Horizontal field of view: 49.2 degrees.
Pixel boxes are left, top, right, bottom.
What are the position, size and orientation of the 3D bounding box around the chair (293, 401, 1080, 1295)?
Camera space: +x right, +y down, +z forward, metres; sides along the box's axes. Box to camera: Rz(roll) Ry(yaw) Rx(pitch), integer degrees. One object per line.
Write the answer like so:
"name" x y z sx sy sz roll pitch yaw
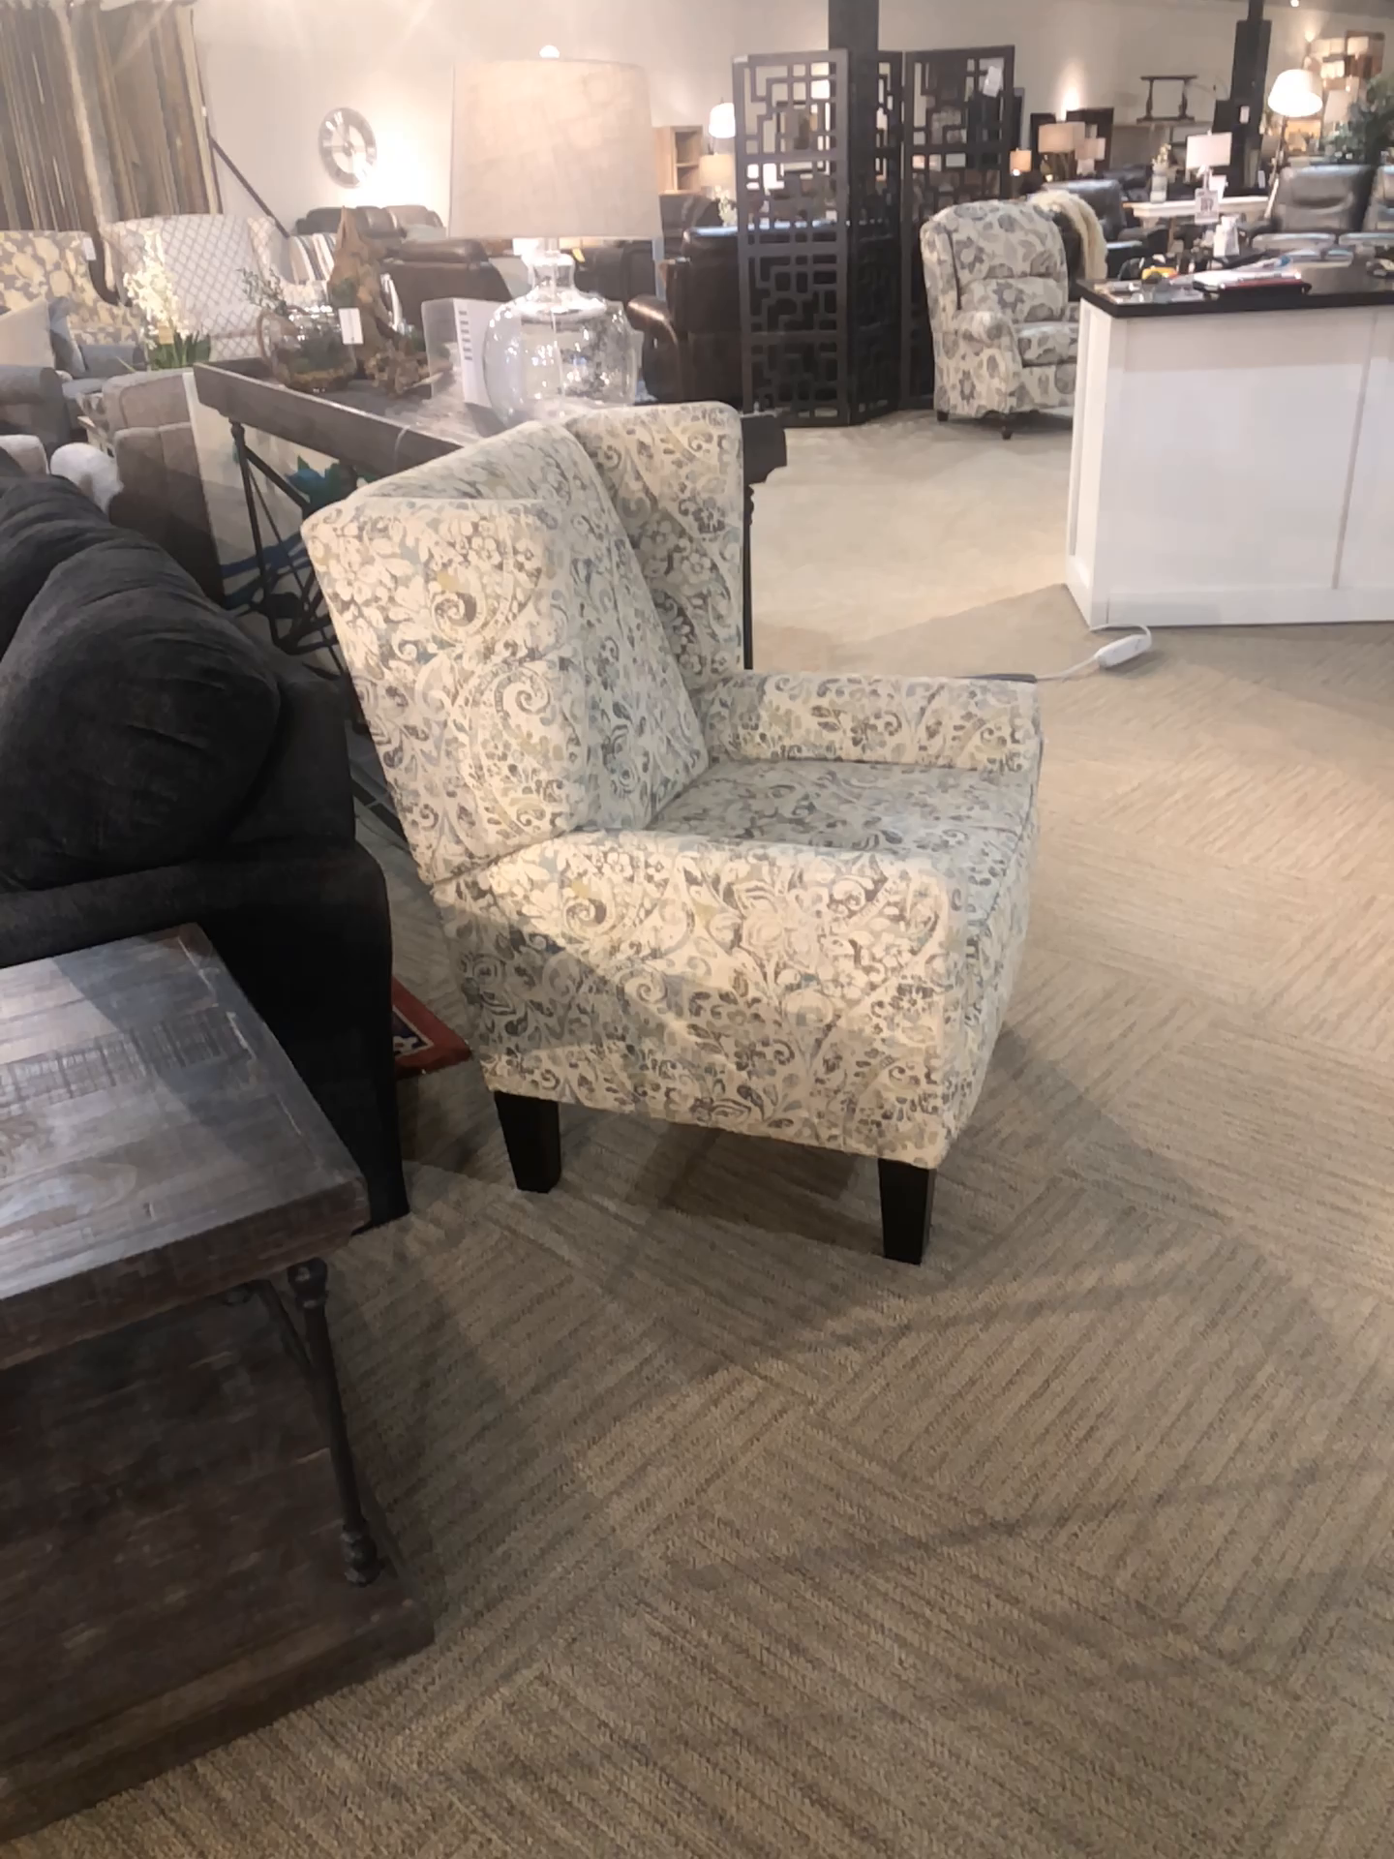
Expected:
"chair" 0.058 -0.188 2.183 0.800 0.975 0.784 7 28 18
